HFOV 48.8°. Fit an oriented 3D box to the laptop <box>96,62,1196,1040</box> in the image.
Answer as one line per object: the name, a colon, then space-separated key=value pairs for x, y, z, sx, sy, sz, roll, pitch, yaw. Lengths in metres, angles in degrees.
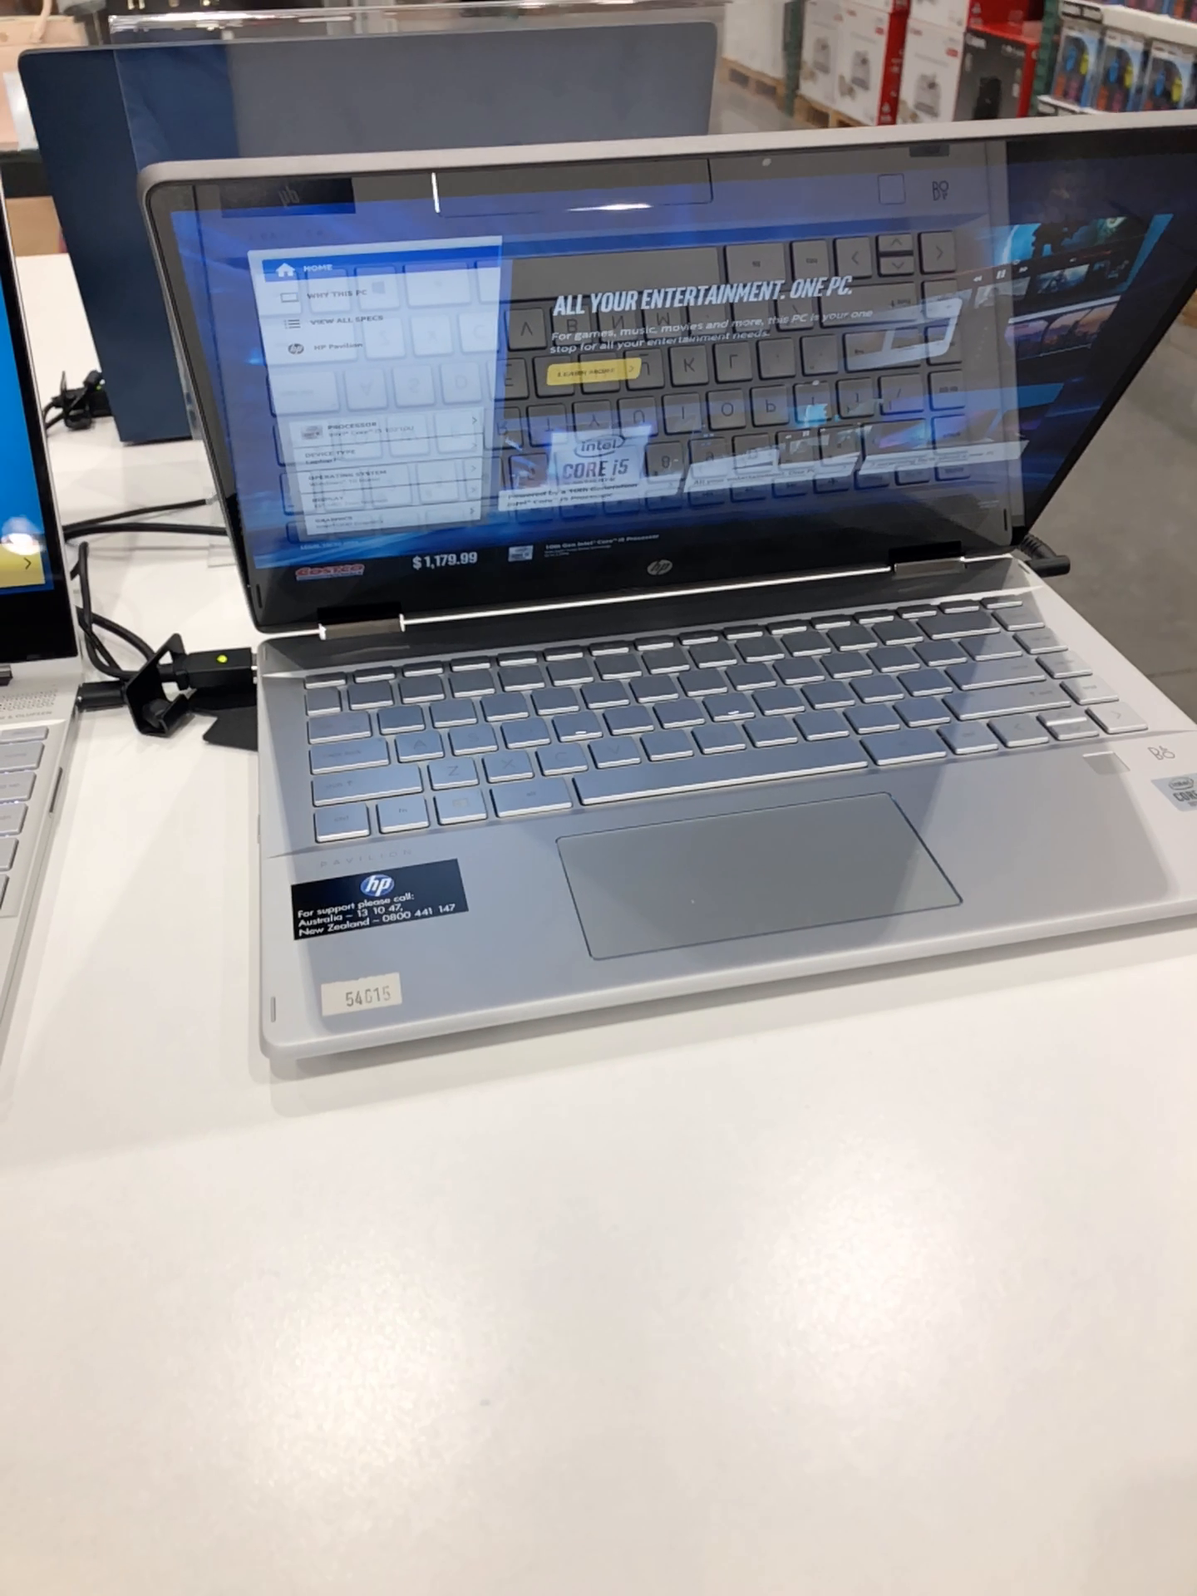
laptop: x=0.044 y=-0.093 z=0.397 sx=0.317 sy=0.185 sz=0.207 roll=-8 pitch=37 yaw=-9
